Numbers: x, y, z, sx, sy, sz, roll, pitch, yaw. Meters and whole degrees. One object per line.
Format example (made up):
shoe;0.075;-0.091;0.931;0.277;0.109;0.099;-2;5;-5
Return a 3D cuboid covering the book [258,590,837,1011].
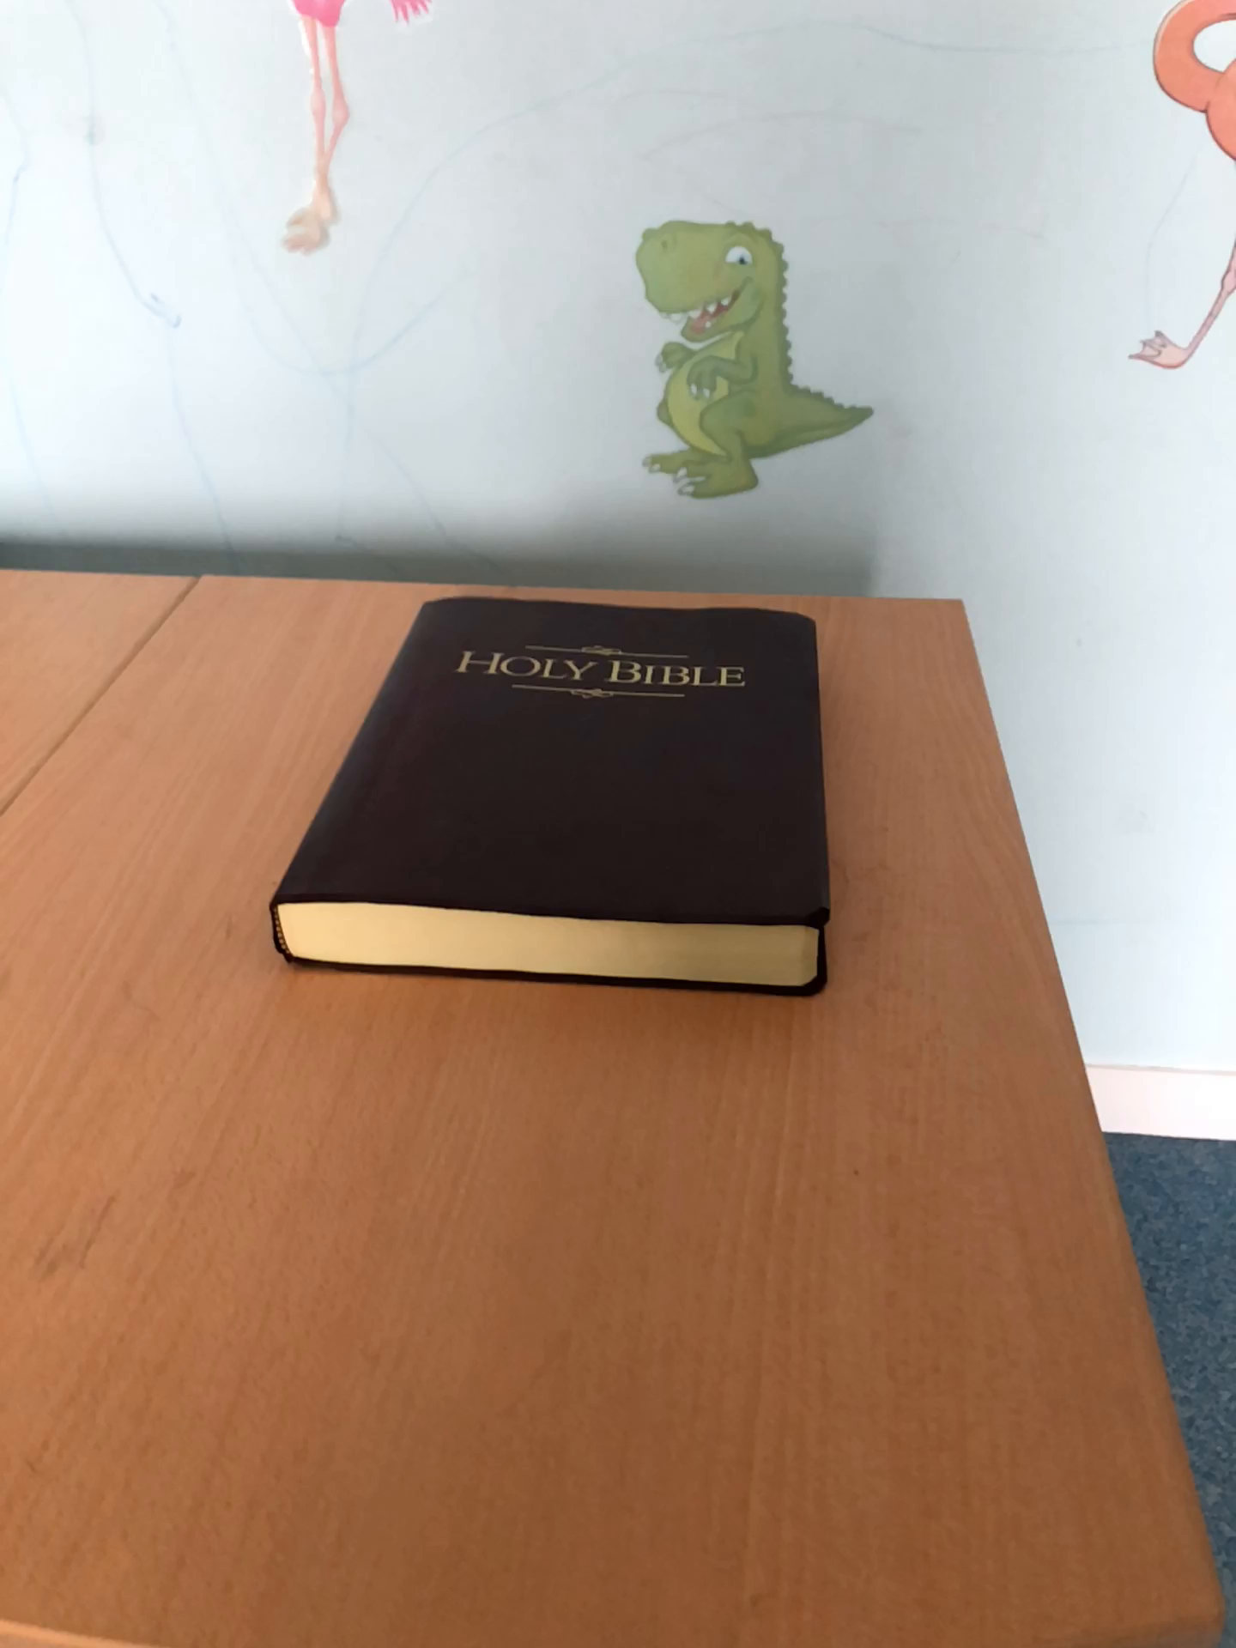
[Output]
book;-0.015;-0.029;0.645;0.223;0.040;0.282;3;35;4
